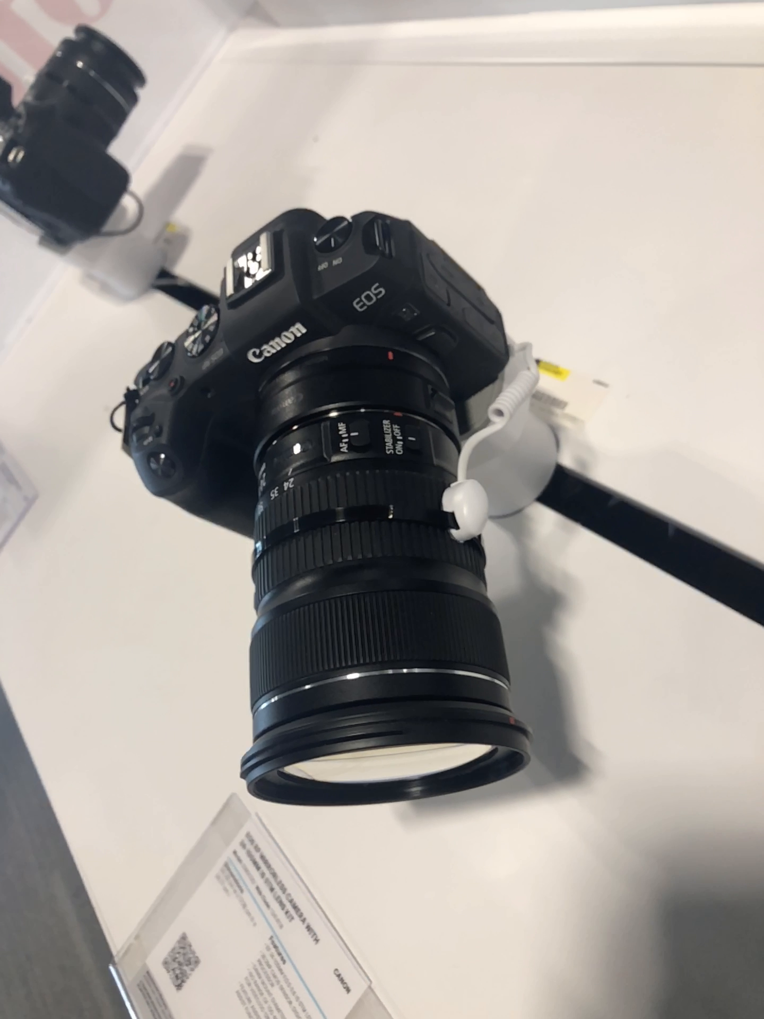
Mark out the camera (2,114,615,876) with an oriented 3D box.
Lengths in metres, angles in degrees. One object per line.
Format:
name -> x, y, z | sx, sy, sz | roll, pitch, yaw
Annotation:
camera -> -0.029, 0.001, 0.276 | 0.136, 0.089, 0.191 | -27, 52, 29
